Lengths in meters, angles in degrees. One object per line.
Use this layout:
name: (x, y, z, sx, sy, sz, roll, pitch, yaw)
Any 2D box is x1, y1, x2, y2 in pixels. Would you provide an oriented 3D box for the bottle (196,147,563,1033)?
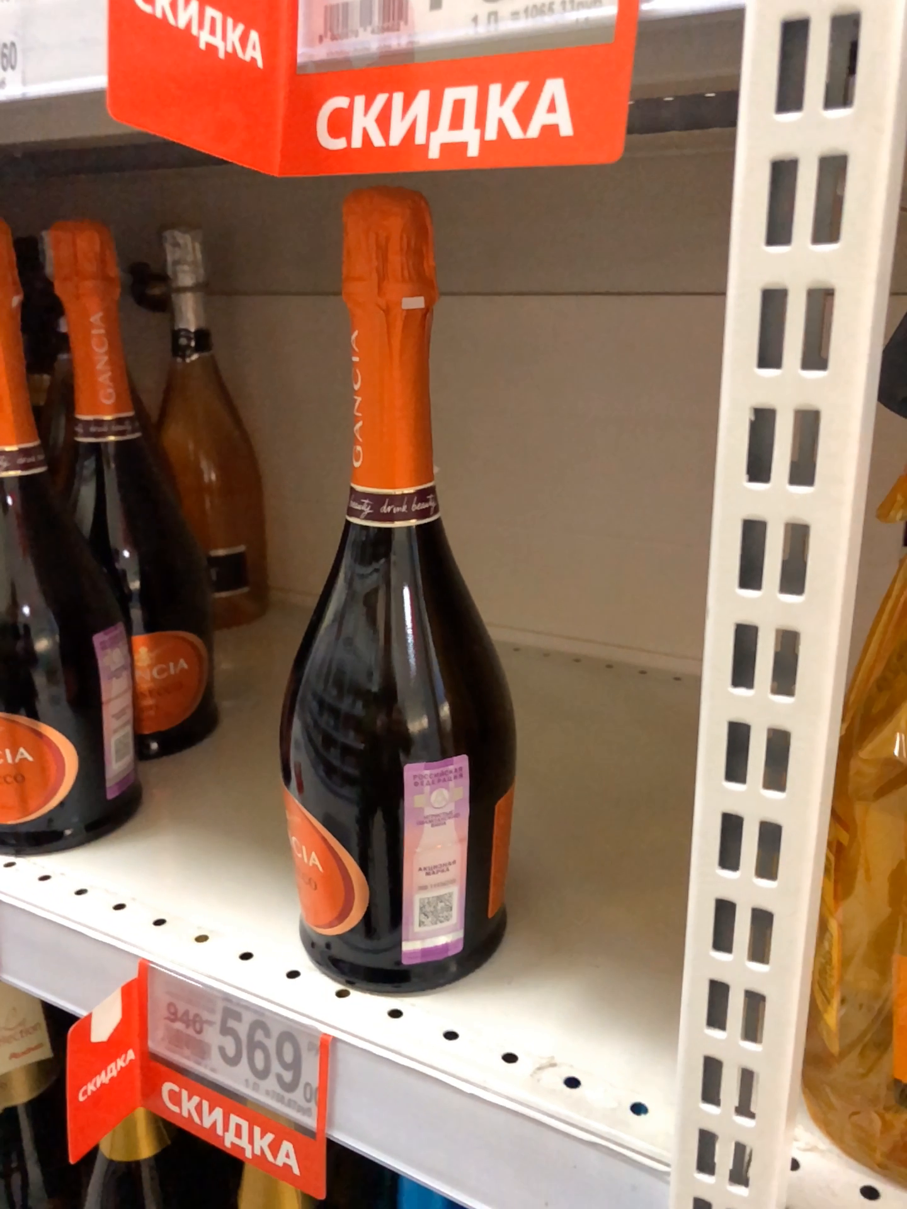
bottle: (-0.028, -0.005, 0.396, 0.100, 0.309, 0.100, -1, 18, 0)
